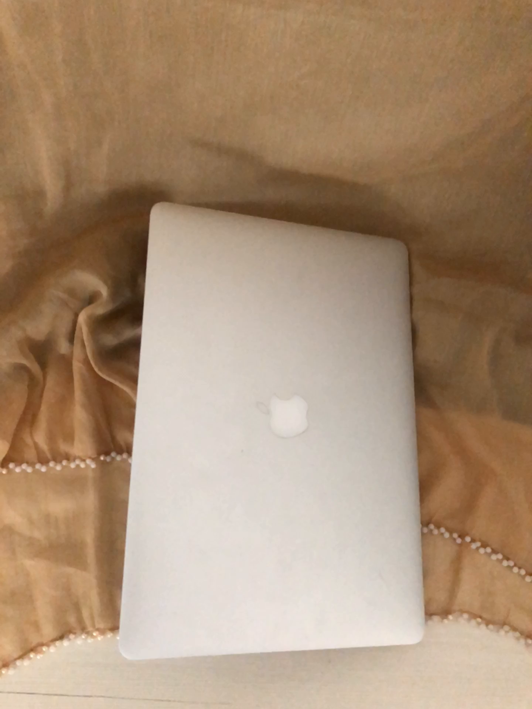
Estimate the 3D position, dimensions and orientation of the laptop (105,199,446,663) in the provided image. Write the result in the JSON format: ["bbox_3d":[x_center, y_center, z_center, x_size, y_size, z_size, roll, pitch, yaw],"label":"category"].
[{"bbox_3d":[0.010,0.051,0.490,0.239,0.064,0.352,2,75,-2],"label":"laptop"}]
